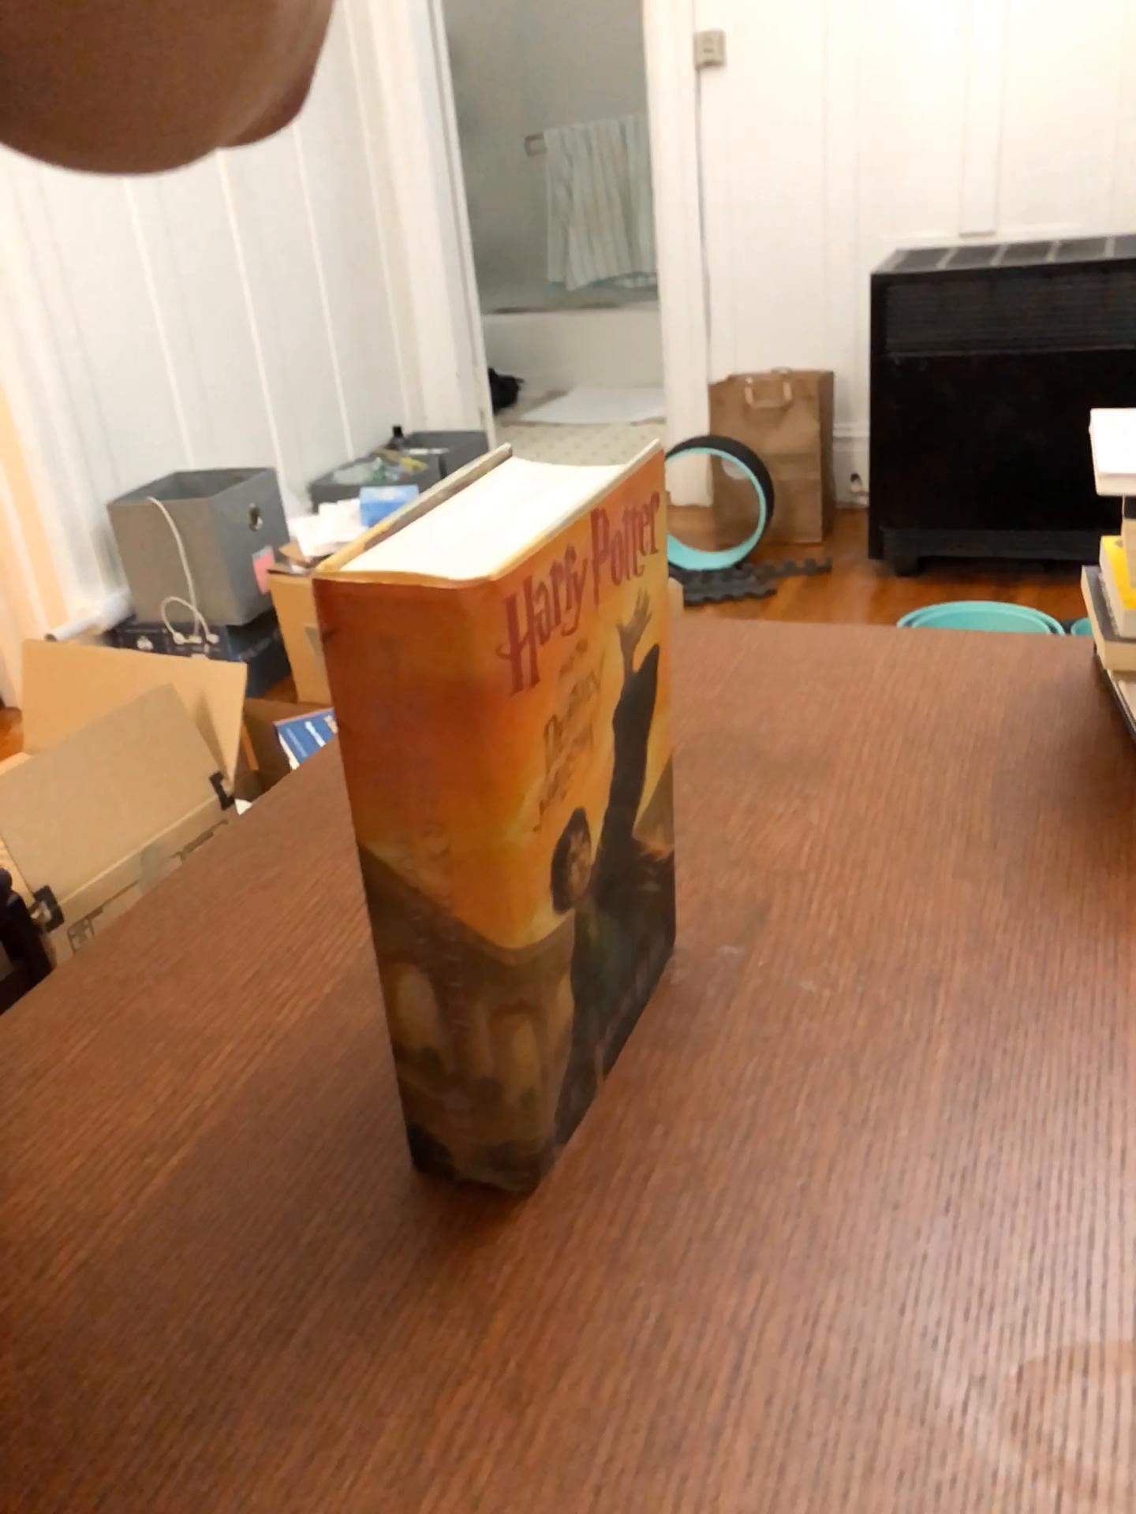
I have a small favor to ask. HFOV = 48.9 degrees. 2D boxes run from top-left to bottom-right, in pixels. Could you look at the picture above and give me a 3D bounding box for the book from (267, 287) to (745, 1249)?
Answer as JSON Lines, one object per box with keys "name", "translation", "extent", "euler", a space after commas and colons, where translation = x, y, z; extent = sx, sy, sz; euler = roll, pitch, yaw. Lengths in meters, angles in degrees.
{"name": "book", "translation": [0.002, -0.007, 0.481], "extent": [0.070, 0.298, 0.211], "euler": [7, 29, 23]}
